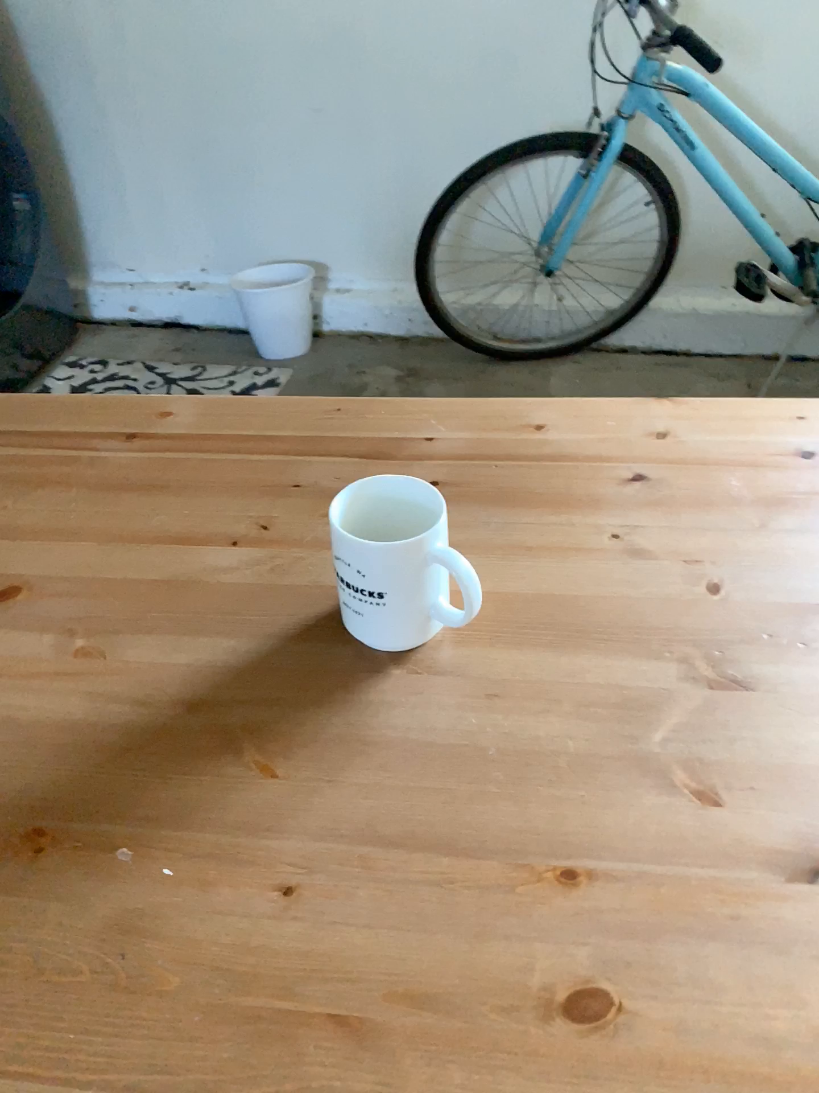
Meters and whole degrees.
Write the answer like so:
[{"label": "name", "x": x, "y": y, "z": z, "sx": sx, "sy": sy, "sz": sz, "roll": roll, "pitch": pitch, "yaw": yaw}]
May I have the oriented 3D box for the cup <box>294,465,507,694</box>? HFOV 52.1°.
[{"label": "cup", "x": -0.004, "y": 0.020, "z": 0.595, "sx": 0.120, "sy": 0.100, "sz": 0.080, "roll": 23, "pitch": 47, "yaw": 29}]
